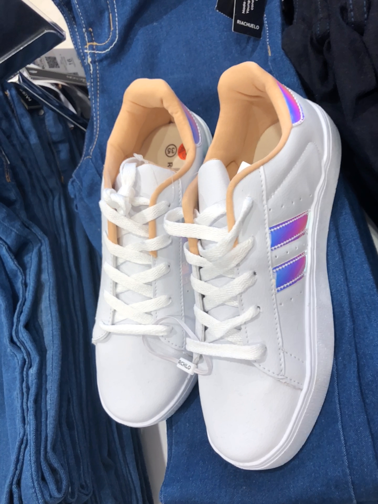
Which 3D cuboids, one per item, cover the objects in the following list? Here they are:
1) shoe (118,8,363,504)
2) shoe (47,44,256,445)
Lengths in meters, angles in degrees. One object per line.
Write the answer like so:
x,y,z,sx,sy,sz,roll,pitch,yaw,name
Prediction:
0.046,0.006,0.276,0.090,0.110,0.260,-2,75,38,shoe
-0.014,-0.007,0.330,0.090,0.110,0.260,3,77,20,shoe
